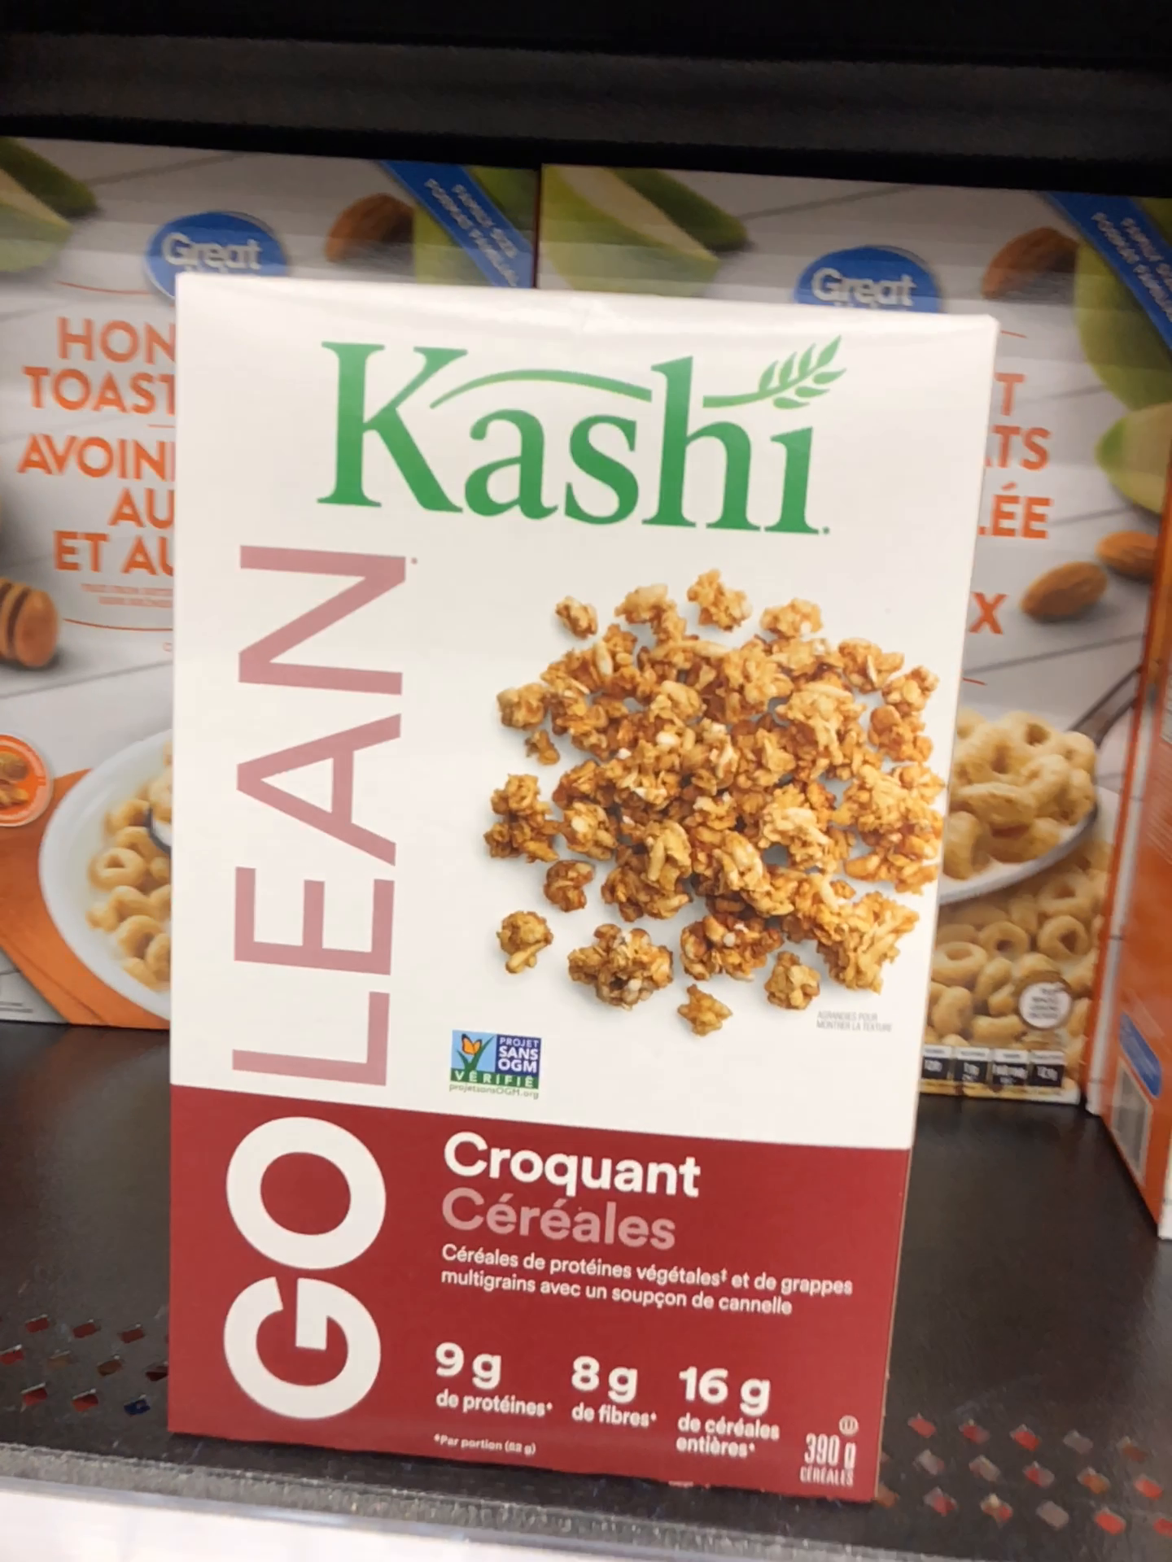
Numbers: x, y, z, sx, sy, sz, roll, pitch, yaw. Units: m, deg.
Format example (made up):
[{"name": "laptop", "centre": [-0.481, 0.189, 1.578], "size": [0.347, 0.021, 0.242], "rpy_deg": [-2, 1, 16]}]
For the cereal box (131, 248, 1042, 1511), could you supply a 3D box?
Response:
[{"name": "cereal box", "centre": [-0.007, 0.026, 0.292], "size": [0.170, 0.259, 0.050], "rpy_deg": [4, 12, 3]}]
